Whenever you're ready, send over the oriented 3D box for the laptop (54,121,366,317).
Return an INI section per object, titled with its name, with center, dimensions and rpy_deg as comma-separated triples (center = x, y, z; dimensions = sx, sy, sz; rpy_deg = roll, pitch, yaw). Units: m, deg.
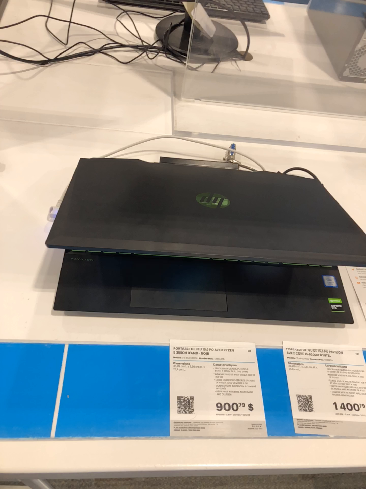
[laptop]
center = 0.036, -0.034, 0.502
dimensions = 0.339, 0.064, 0.222
rpy_deg = 3, 58, -8
